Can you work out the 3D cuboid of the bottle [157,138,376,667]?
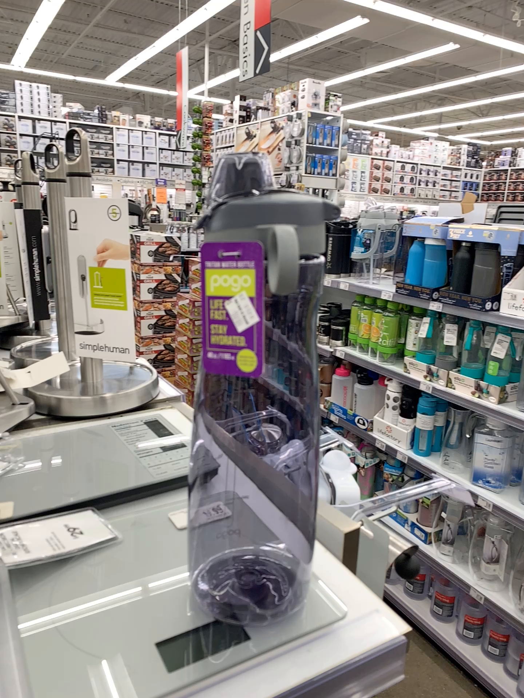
[{"bbox_3d":[-0.009,0.032,0.360,0.100,0.309,0.100,2,14,-1],"label":"bottle"}]
